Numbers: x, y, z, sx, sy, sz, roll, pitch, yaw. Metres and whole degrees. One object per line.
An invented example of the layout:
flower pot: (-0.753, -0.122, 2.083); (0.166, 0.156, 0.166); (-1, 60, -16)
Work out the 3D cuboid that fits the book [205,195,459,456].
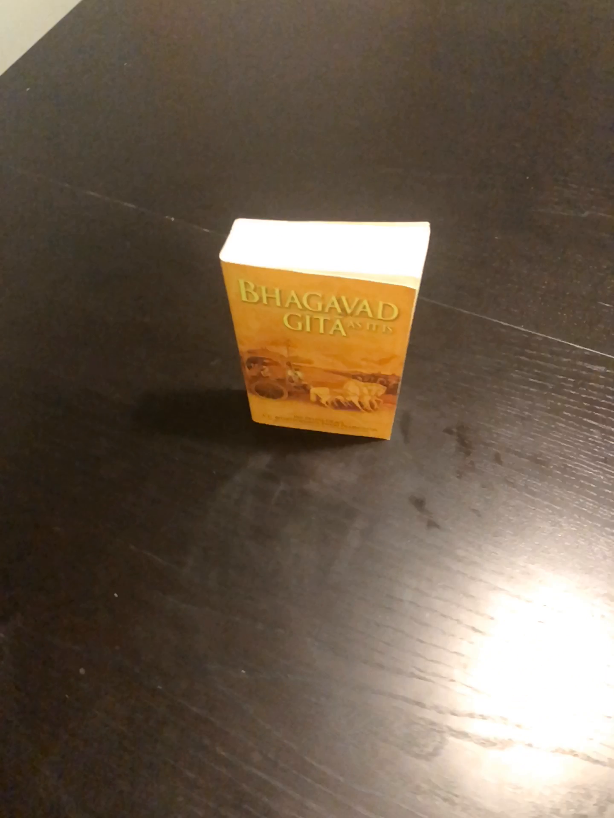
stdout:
book: (0.018, -0.043, 0.431); (0.126, 0.174, 0.059); (7, 61, 7)
